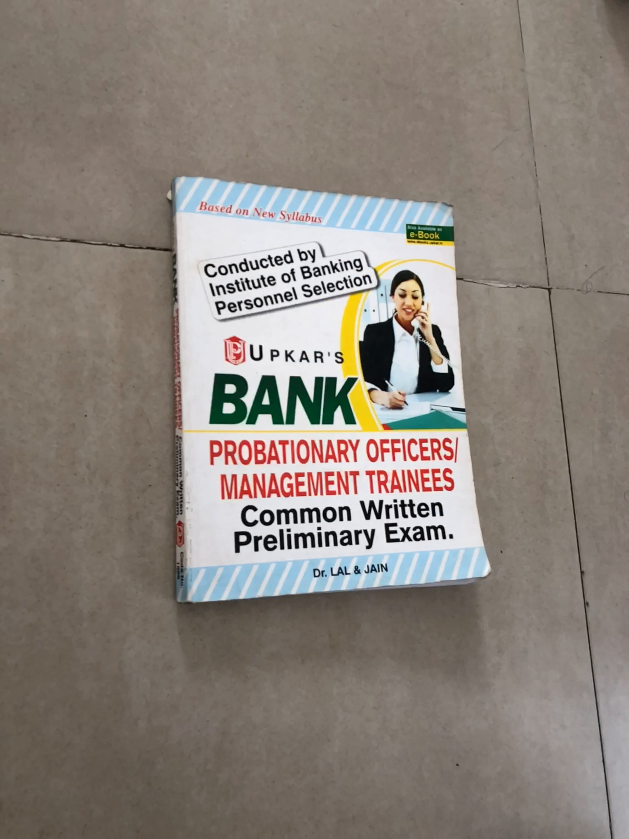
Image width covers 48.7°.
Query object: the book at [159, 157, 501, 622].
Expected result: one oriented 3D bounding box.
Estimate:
[{"bbox_3d":[0.007,-0.015,0.387,0.180,0.040,0.230,1,81,-20],"label":"book"}]
